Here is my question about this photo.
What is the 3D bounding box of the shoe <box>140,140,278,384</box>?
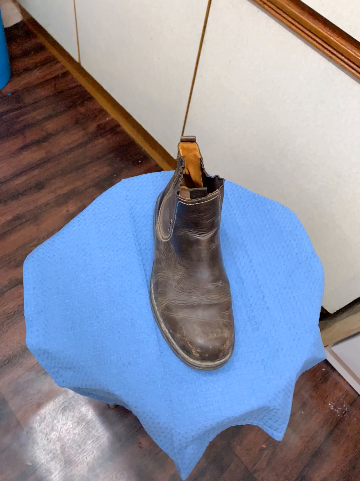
[{"bbox_3d":[0.016,0.026,0.494,0.105,0.156,0.280,-3,62,-12],"label":"shoe"}]
